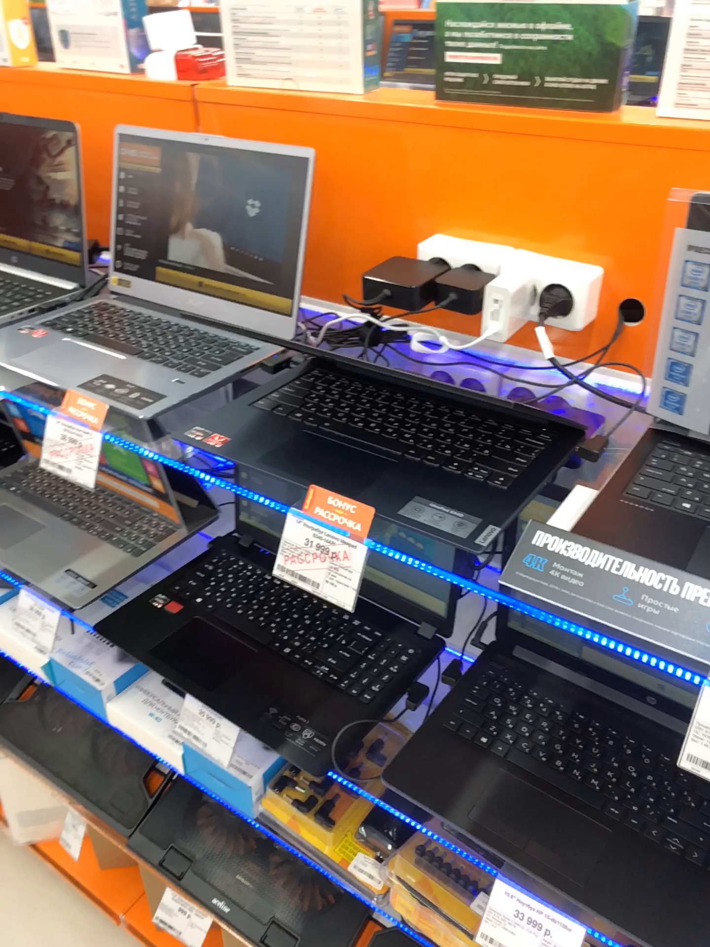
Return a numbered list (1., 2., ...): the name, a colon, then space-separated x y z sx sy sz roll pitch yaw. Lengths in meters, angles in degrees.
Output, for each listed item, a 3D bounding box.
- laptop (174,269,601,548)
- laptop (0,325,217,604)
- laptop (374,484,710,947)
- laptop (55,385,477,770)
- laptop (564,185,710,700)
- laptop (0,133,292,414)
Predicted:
1. laptop: 0.027 -0.080 0.688 0.299 0.106 0.212 19 36 31
2. laptop: -0.418 -0.031 1.058 0.348 0.207 0.236 20 37 28
3. laptop: 0.229 0.199 0.671 0.353 0.215 0.226 21 36 33
4. laptop: -0.094 0.087 0.859 0.342 0.230 0.247 21 37 33
5. laptop: 0.354 -0.052 0.516 0.306 0.213 0.229 20 35 31
6. laptop: -0.273 -0.236 0.850 0.316 0.203 0.225 20 36 30
